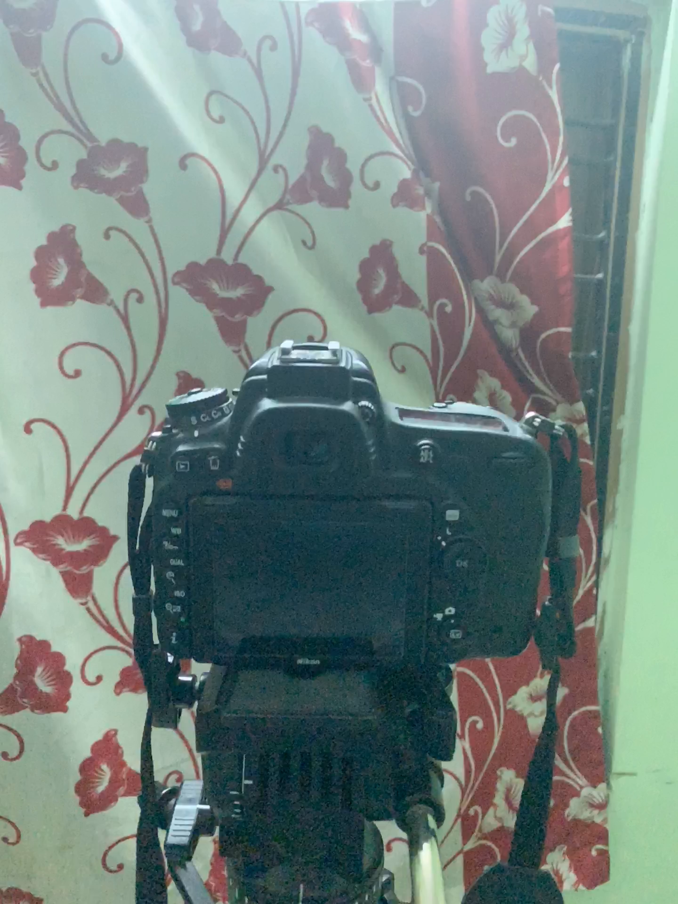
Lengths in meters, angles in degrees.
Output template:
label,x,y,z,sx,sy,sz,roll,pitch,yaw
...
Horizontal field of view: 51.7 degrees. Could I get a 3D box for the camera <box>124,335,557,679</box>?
label,x,y,z,sx,sy,sz,roll,pitch,yaw
camera,-0.001,0.012,0.295,0.139,0.112,0.129,1,7,-1
